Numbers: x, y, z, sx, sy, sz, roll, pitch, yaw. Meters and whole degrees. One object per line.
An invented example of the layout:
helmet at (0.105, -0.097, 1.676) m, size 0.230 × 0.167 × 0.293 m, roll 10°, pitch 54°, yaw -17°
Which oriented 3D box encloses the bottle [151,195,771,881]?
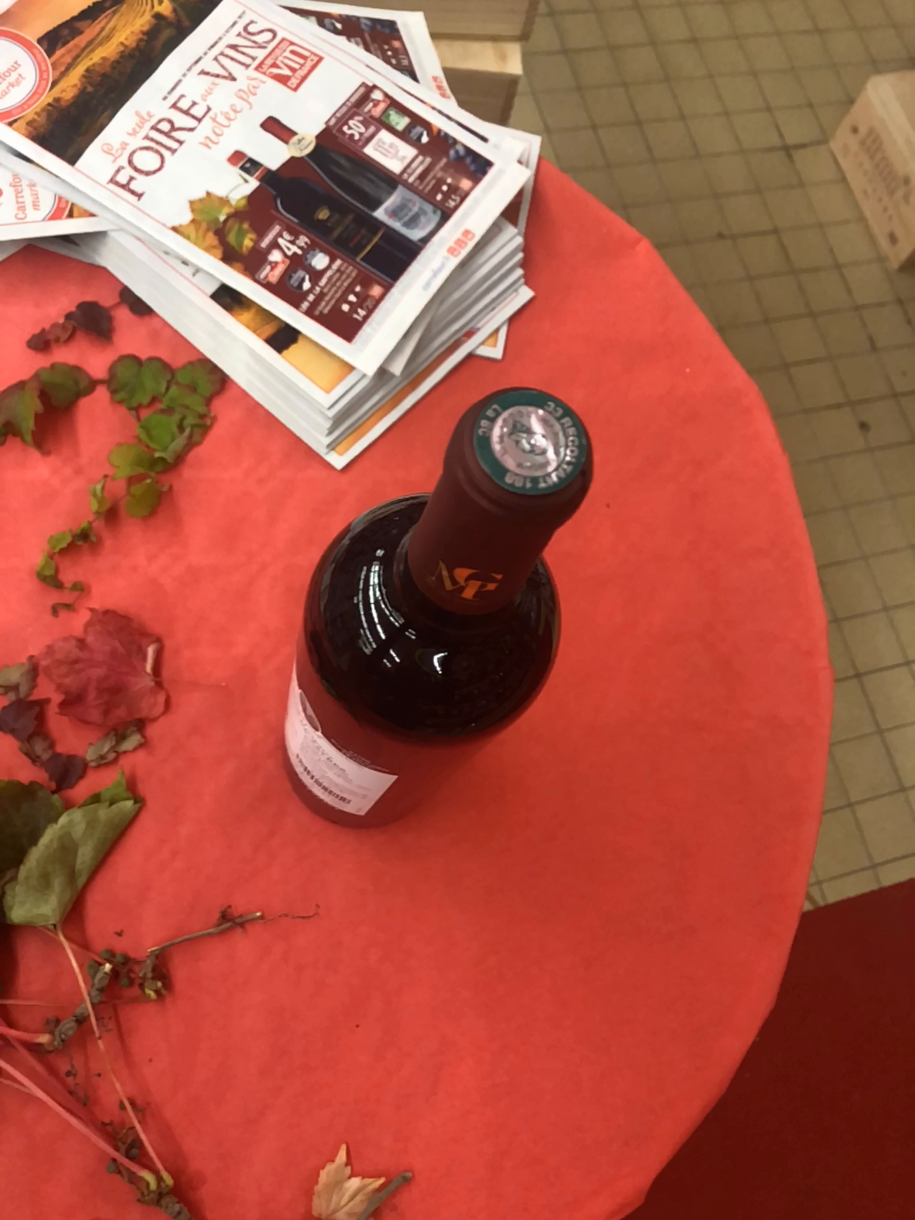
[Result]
bottle at (-0.021, 0.016, 0.337) m, size 0.090 × 0.299 × 0.090 m, roll 3°, pitch 70°, yaw -8°
